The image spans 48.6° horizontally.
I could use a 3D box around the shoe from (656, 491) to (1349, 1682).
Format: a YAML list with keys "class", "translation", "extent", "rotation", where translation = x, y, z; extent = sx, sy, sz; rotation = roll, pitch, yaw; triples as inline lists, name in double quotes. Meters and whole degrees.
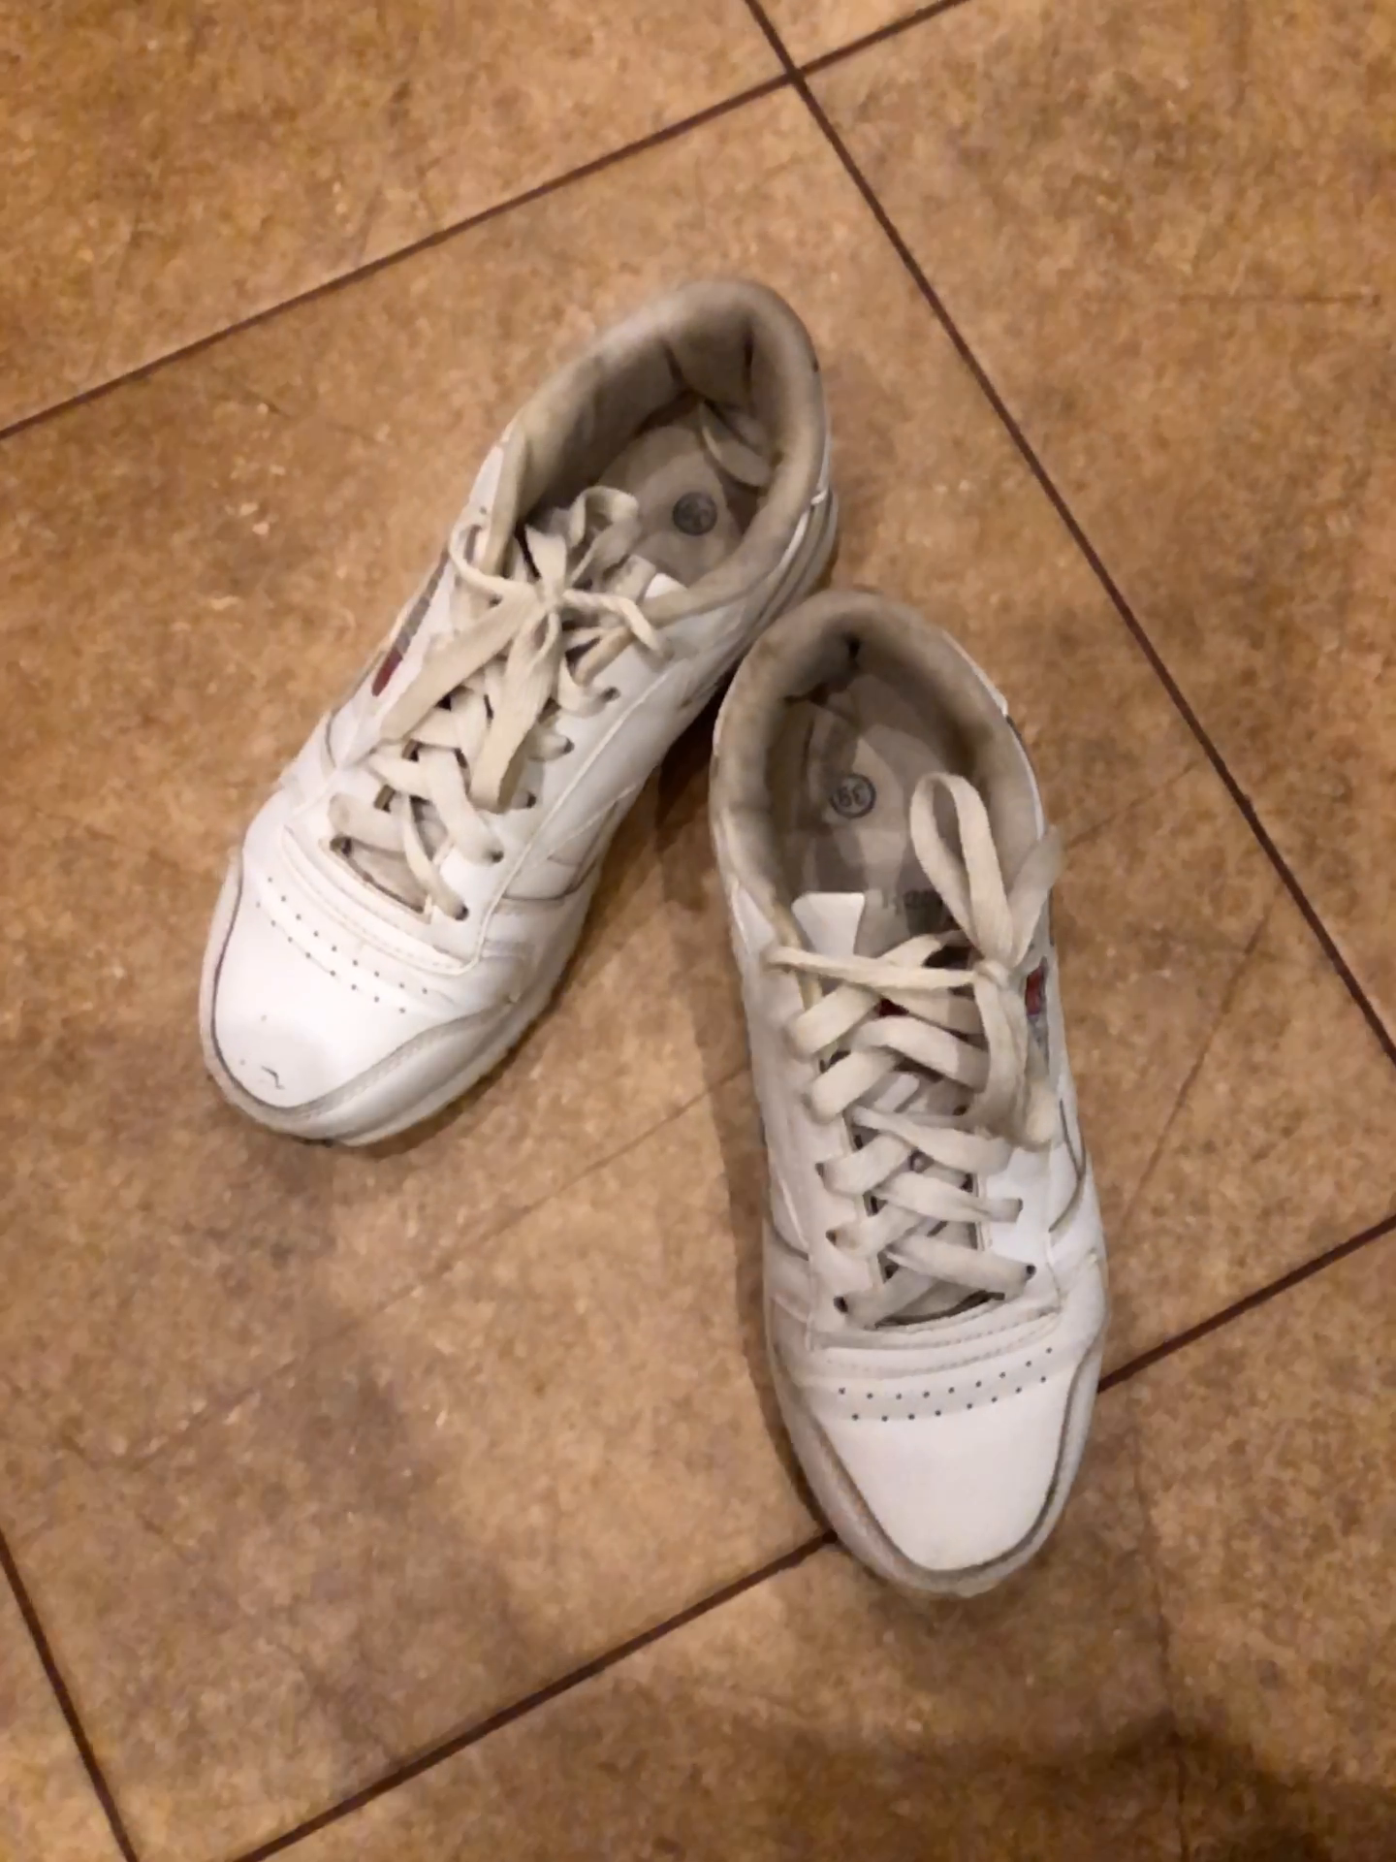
- class: "shoe"
  translation: [0.062, 0.034, 0.390]
  extent: [0.110, 0.100, 0.250]
  rotation: [-8, 78, -2]

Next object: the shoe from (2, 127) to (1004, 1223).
- class: "shoe"
  translation: [-0.041, -0.061, 0.412]
  extent: [0.100, 0.100, 0.260]
  rotation: [34, 80, 7]
